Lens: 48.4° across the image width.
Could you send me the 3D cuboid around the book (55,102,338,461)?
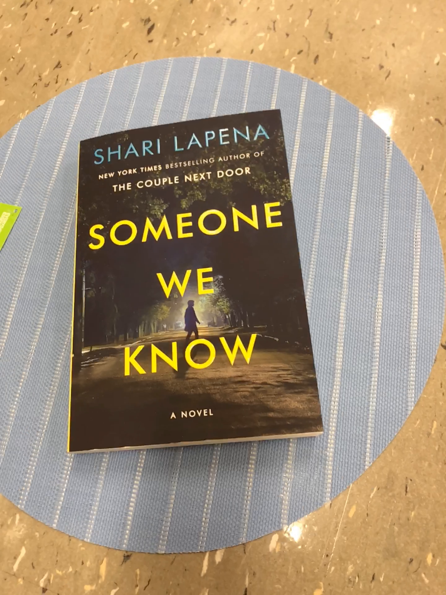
[{"bbox_3d":[-0.023,-0.016,0.329,0.161,0.030,0.225,-7,70,6],"label":"book"}]
